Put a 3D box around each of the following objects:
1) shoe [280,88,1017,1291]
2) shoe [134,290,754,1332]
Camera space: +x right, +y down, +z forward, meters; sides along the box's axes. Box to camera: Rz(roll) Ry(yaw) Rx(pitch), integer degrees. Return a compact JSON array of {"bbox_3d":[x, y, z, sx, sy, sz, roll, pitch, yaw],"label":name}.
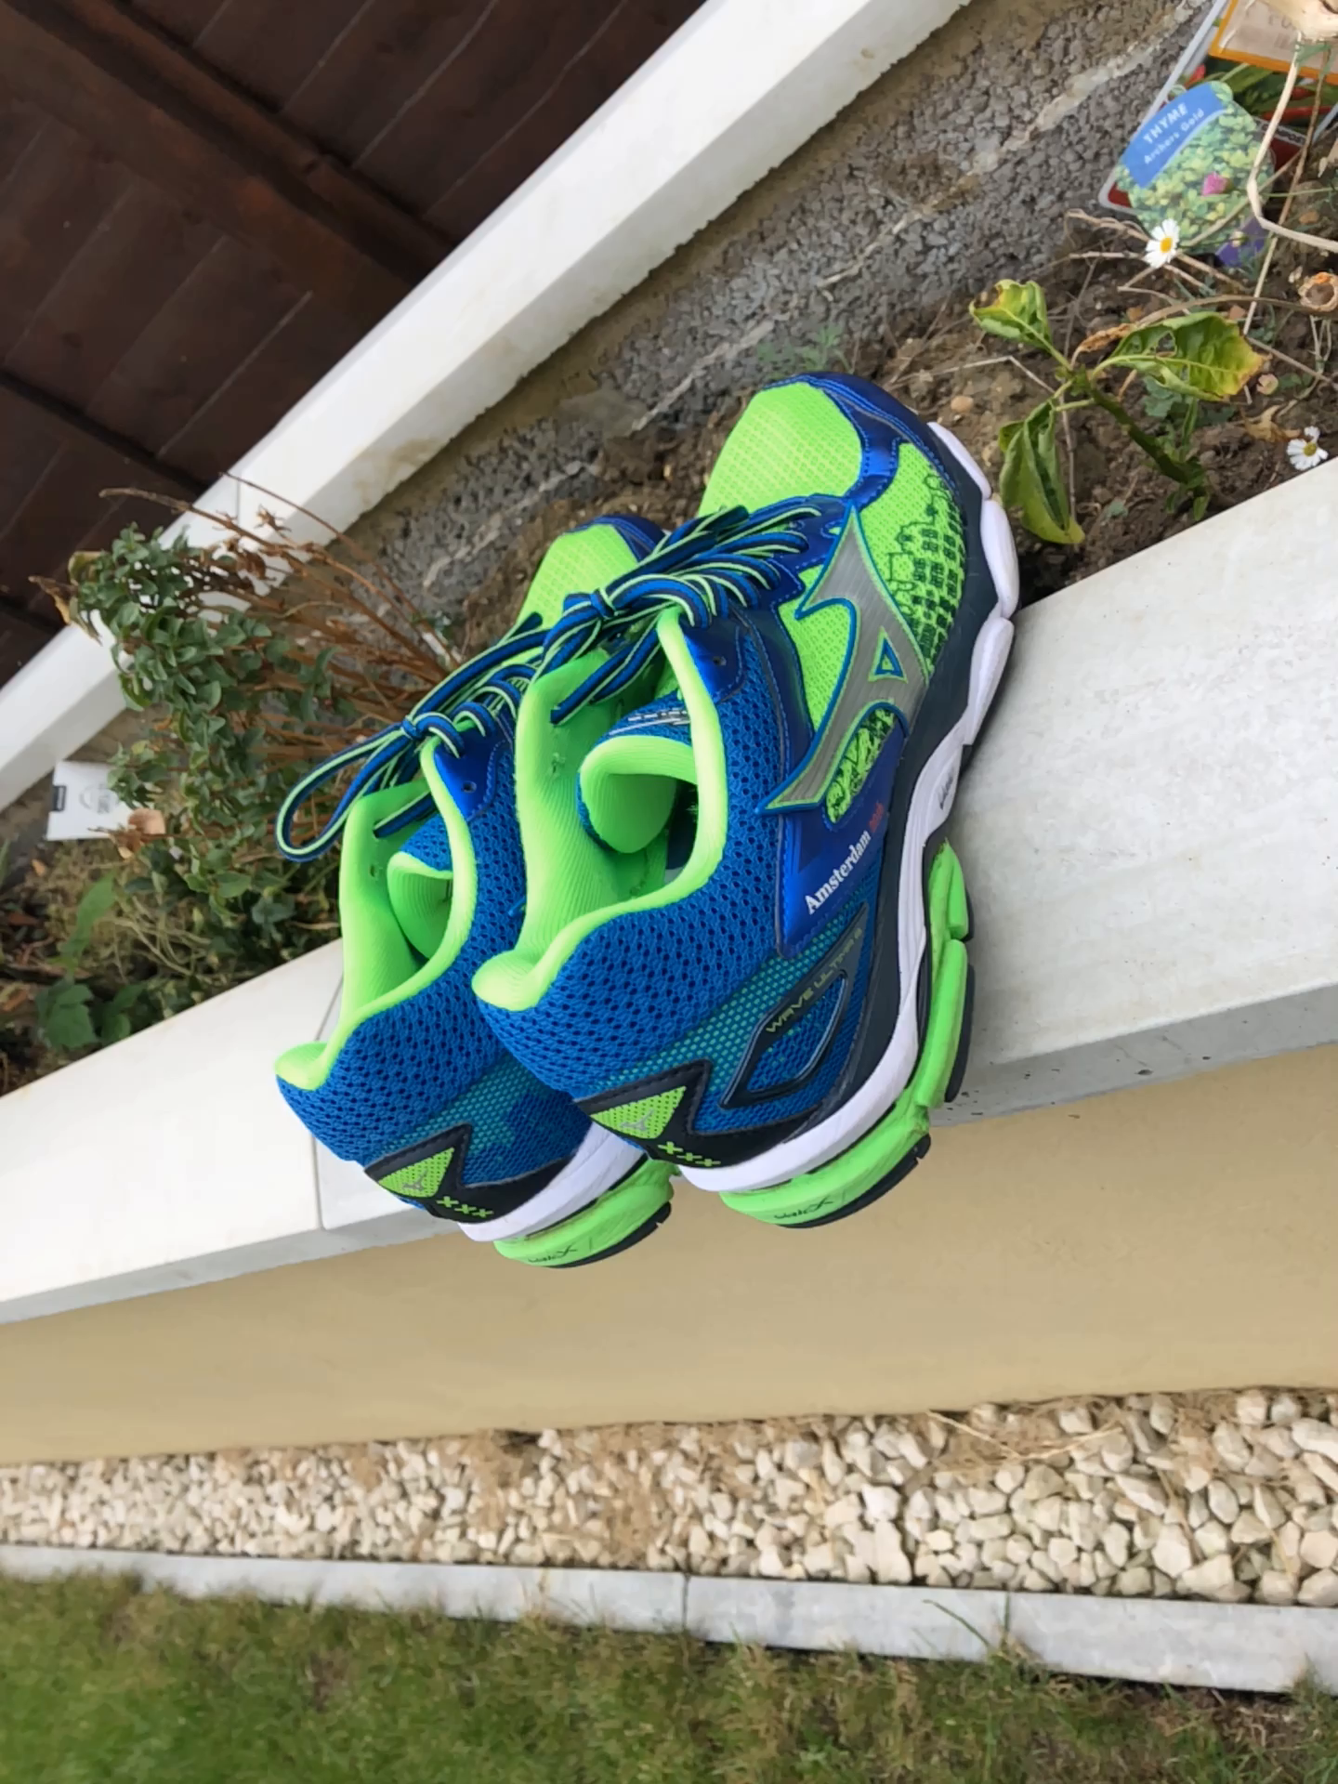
[{"bbox_3d":[0.012,-0.058,0.405,0.110,0.119,0.291,-24,46,42],"label":"shoe"},{"bbox_3d":[-0.059,-0.030,0.468,0.110,0.119,0.291,-31,46,38],"label":"shoe"}]
